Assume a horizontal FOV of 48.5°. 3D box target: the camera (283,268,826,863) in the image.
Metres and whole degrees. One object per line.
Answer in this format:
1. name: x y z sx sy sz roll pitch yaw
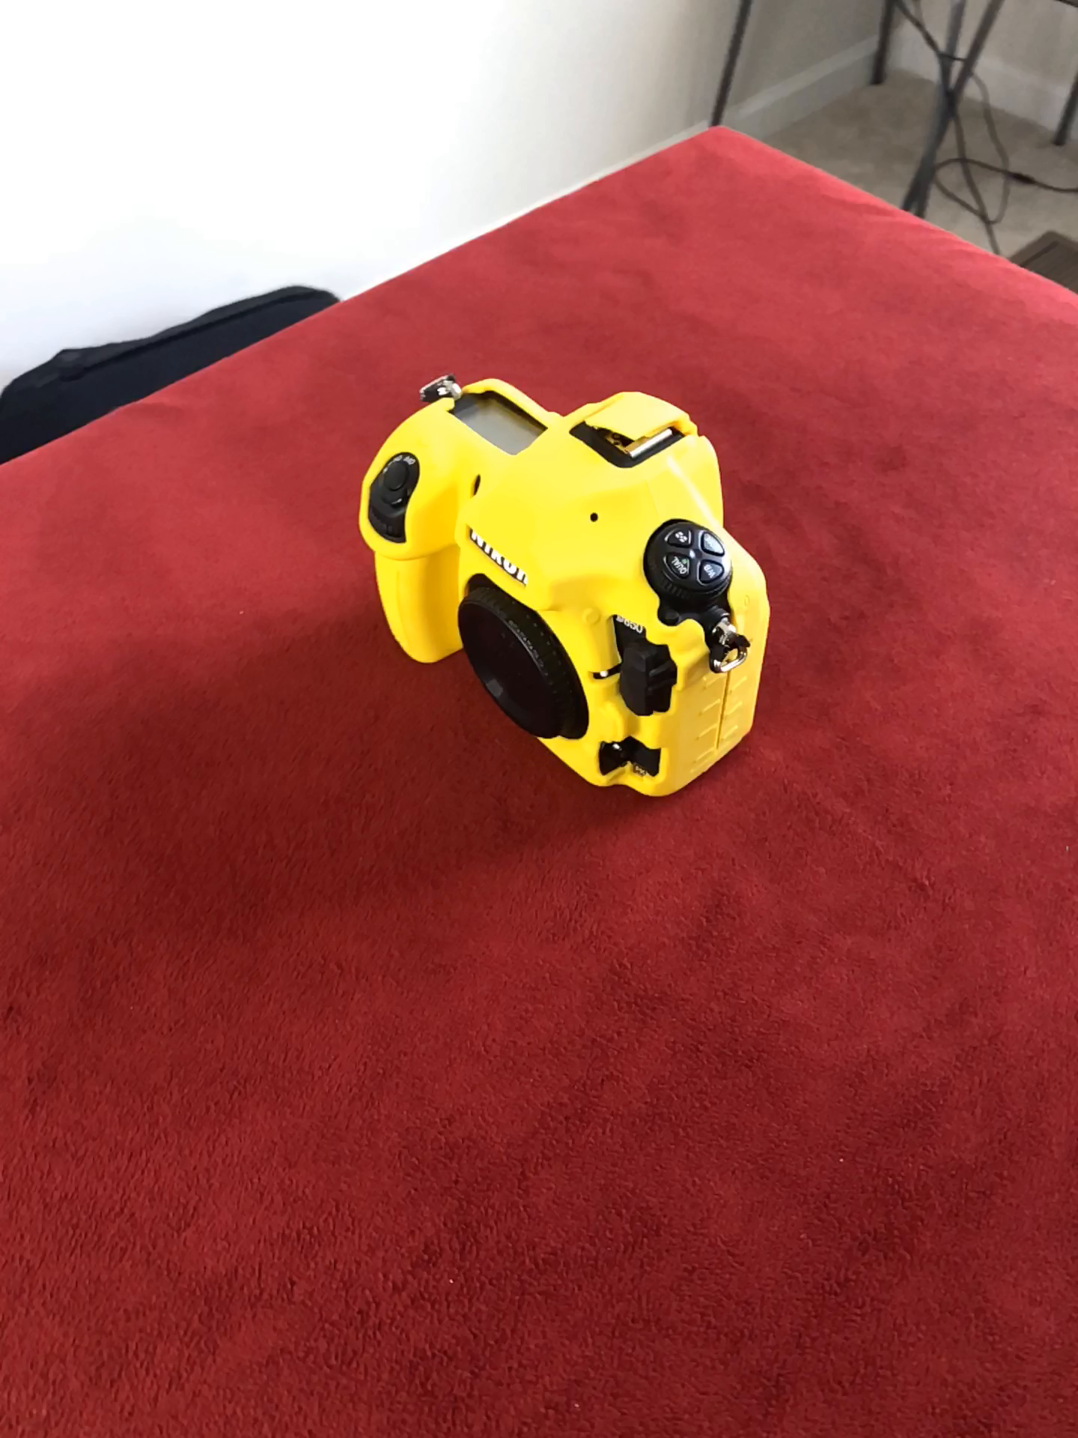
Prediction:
1. camera: 0.002 -0.055 0.414 0.082 0.116 0.161 -35 58 -22
